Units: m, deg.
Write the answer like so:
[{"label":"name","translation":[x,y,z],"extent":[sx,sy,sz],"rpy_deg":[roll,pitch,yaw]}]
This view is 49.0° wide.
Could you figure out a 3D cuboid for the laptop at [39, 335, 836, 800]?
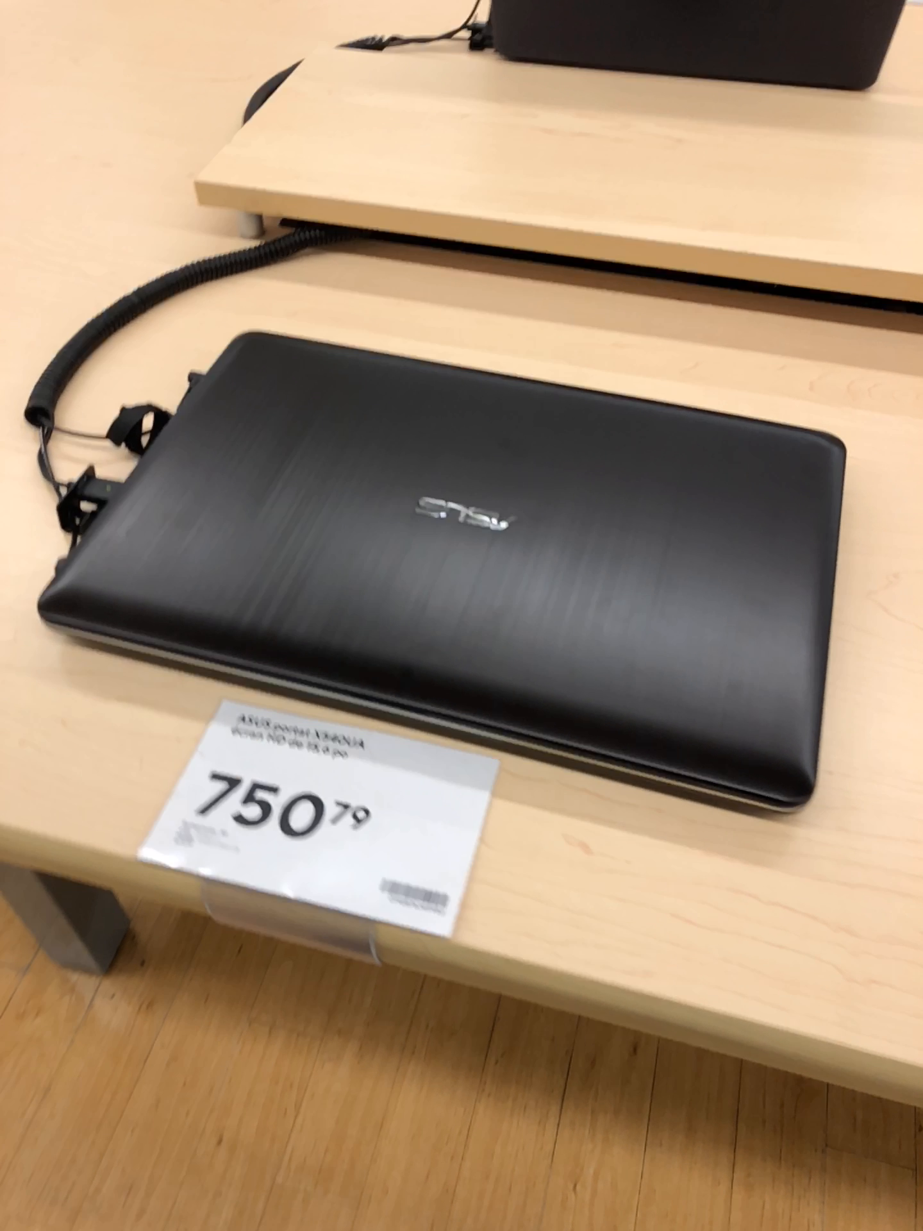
[{"label":"laptop","translation":[0.000,-0.049,0.541],"extent":[0.369,0.010,0.228],"rpy_deg":[13,53,11]}]
